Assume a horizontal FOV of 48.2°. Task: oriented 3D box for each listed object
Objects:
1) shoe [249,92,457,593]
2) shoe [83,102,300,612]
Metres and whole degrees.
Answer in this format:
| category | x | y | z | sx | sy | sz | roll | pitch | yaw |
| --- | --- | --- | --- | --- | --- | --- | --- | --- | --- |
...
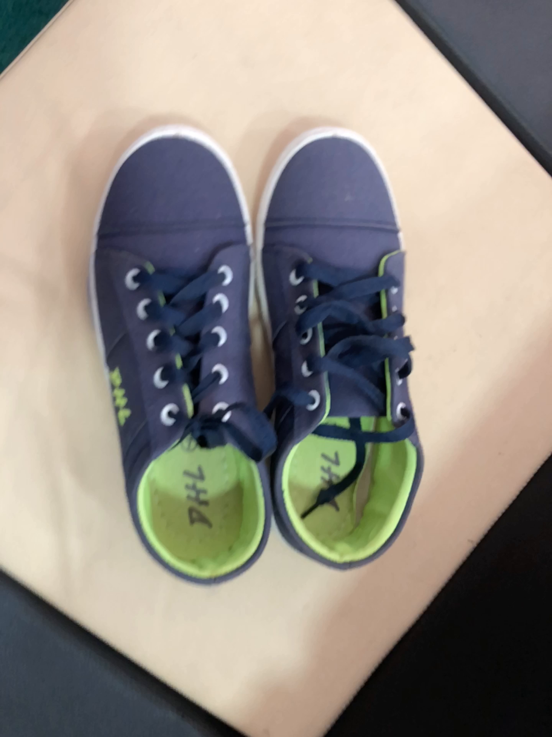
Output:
| category | x | y | z | sx | sy | sz | roll | pitch | yaw |
| --- | --- | --- | --- | --- | --- | --- | --- | --- | --- |
| shoe | 0.045 | -0.016 | 0.381 | 0.090 | 0.080 | 0.270 | -6 | 96 | -11 |
| shoe | -0.049 | -0.008 | 0.367 | 0.090 | 0.090 | 0.260 | -5 | 96 | -11 |
